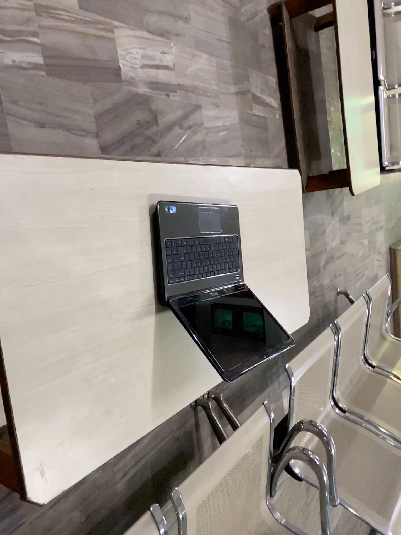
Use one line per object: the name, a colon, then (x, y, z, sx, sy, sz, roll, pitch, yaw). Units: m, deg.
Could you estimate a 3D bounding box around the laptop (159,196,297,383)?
laptop: (0.083, 0.033, 0.993, 0.331, 0.152, 0.378, -8, 96, -51)
